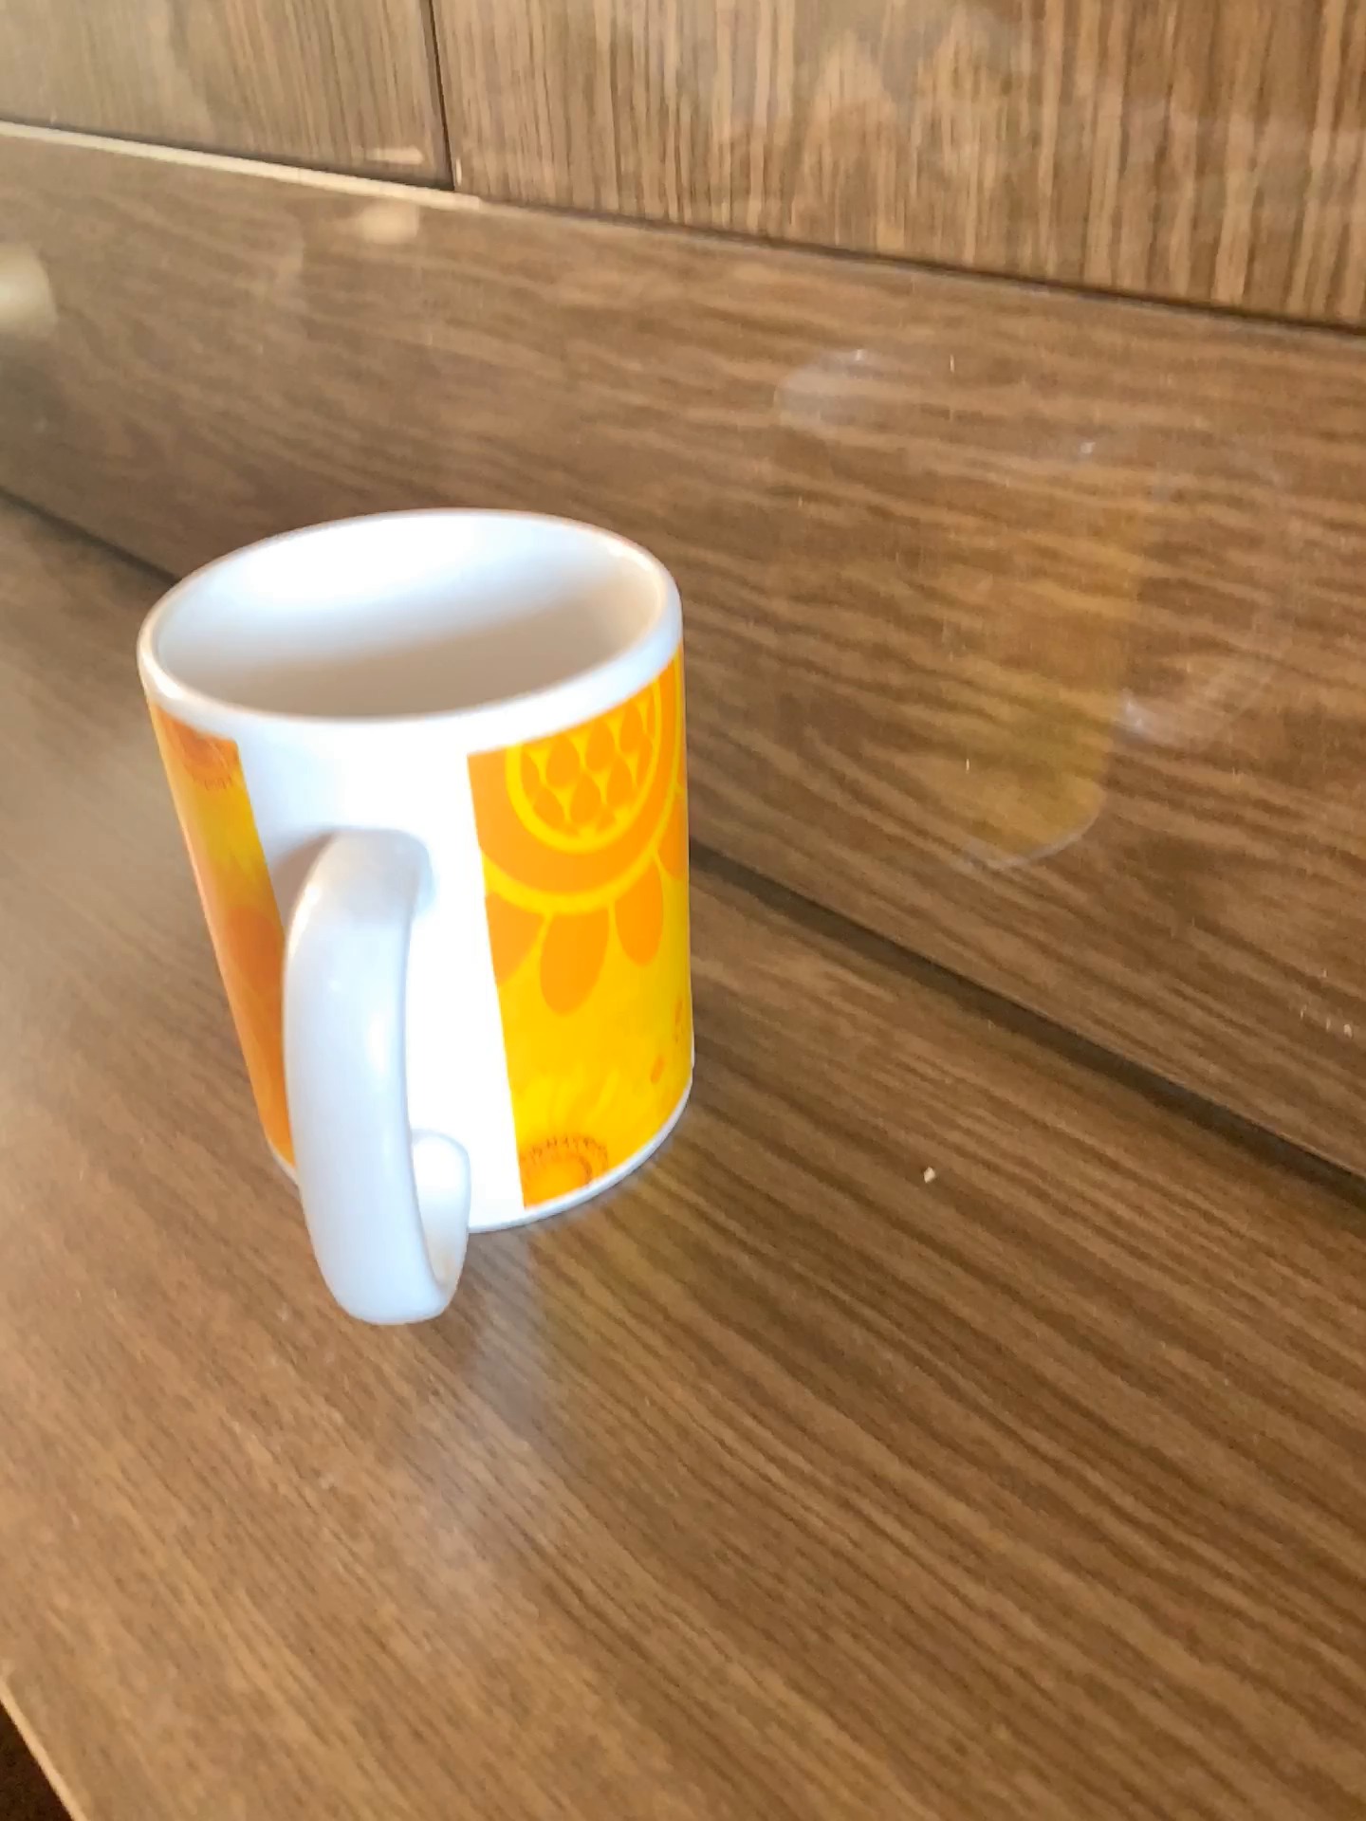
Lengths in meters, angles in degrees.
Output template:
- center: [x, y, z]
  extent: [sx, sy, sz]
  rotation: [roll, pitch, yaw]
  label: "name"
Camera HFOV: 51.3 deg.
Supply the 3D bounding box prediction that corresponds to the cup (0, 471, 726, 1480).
- center: [-0.042, 0.001, 0.219]
  extent: [0.090, 0.097, 0.124]
  rotation: [1, 36, 4]
  label: "cup"
